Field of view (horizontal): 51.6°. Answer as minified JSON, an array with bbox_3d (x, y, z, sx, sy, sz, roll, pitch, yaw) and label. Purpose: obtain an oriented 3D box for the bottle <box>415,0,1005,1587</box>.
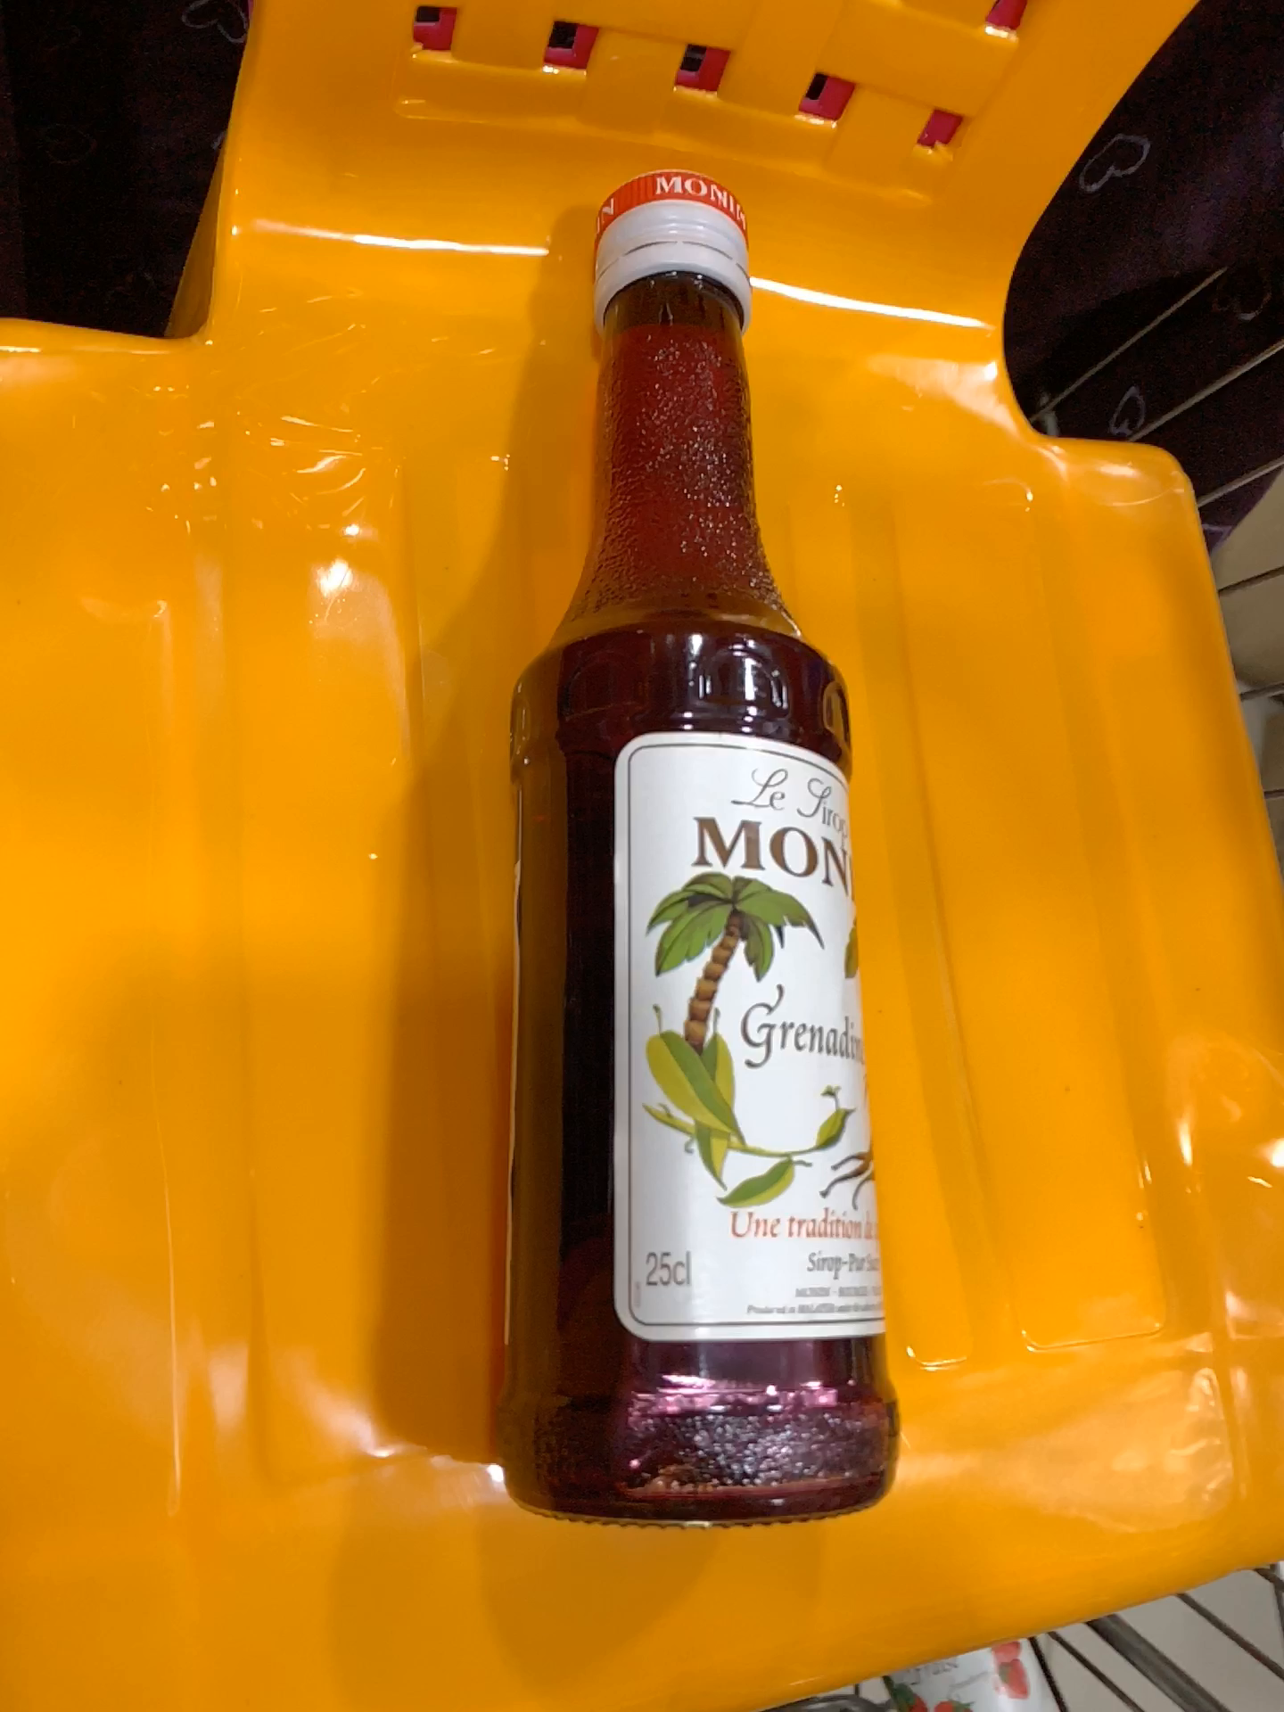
[{"bbox_3d":[0.008,-0.029,0.207,0.060,0.050,0.240,22,60,-50],"label":"bottle"}]
